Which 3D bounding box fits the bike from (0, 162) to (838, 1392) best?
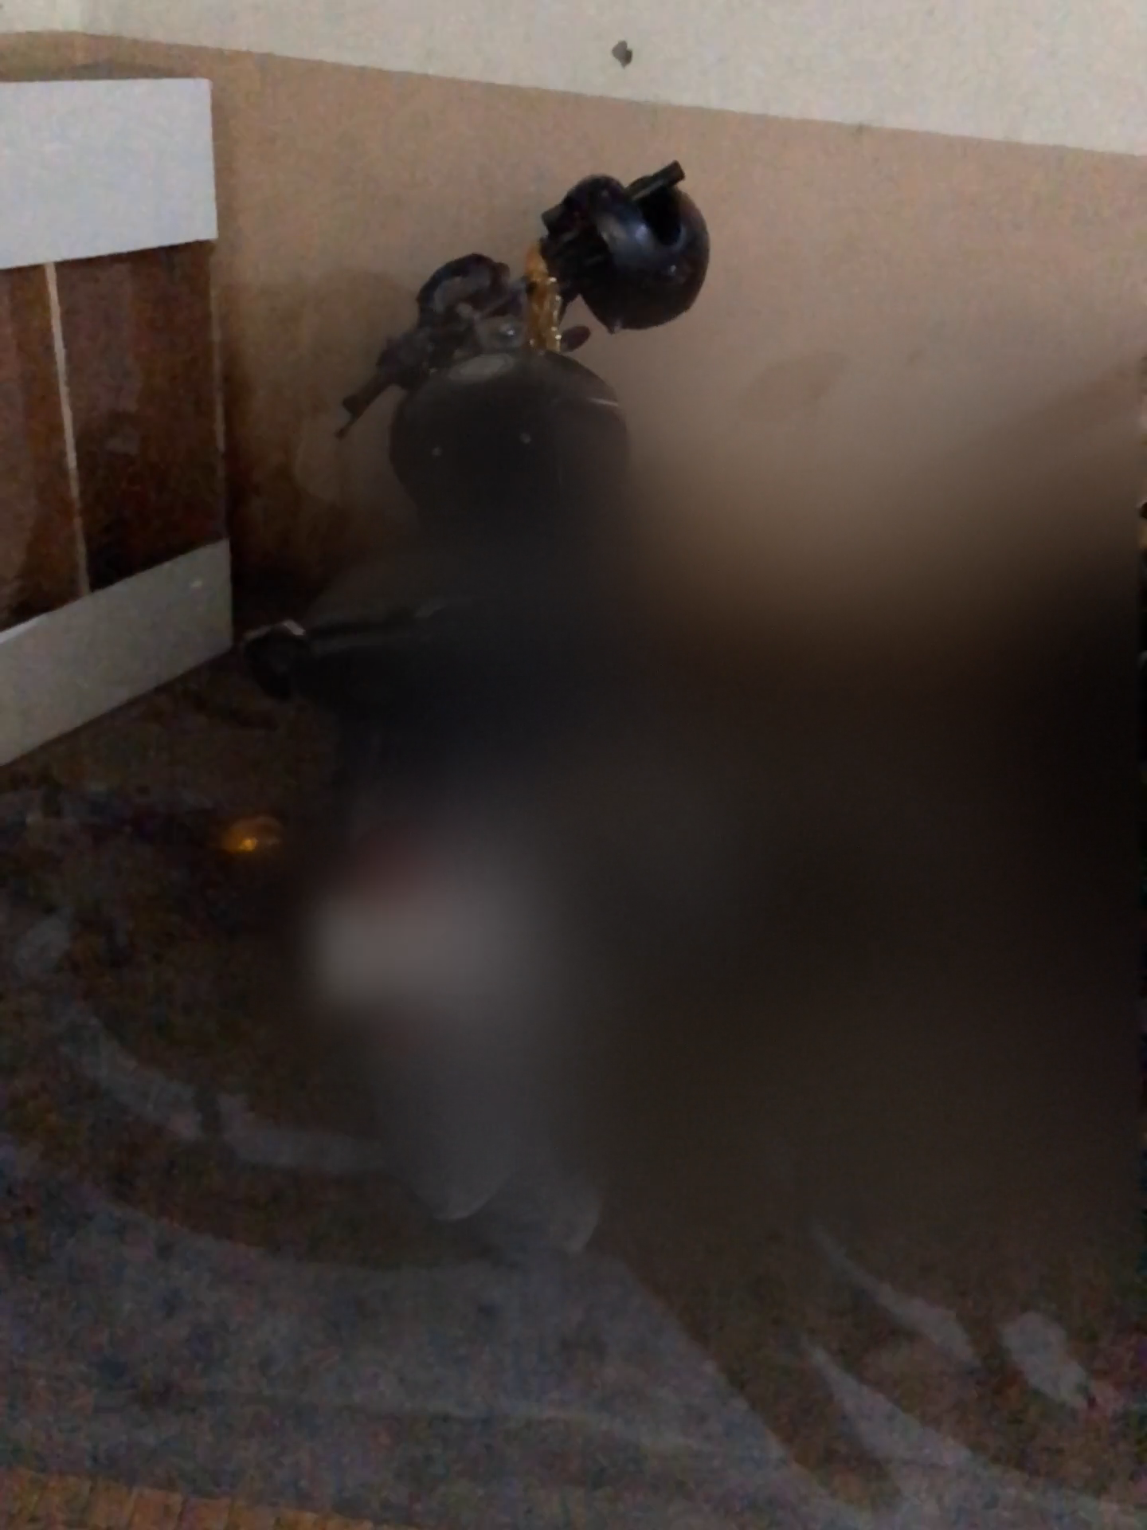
[{"bbox_3d":[-0.204,-0.195,1.967,0.717,1.179,1.712,5,30,-1],"label":"bike"}]
